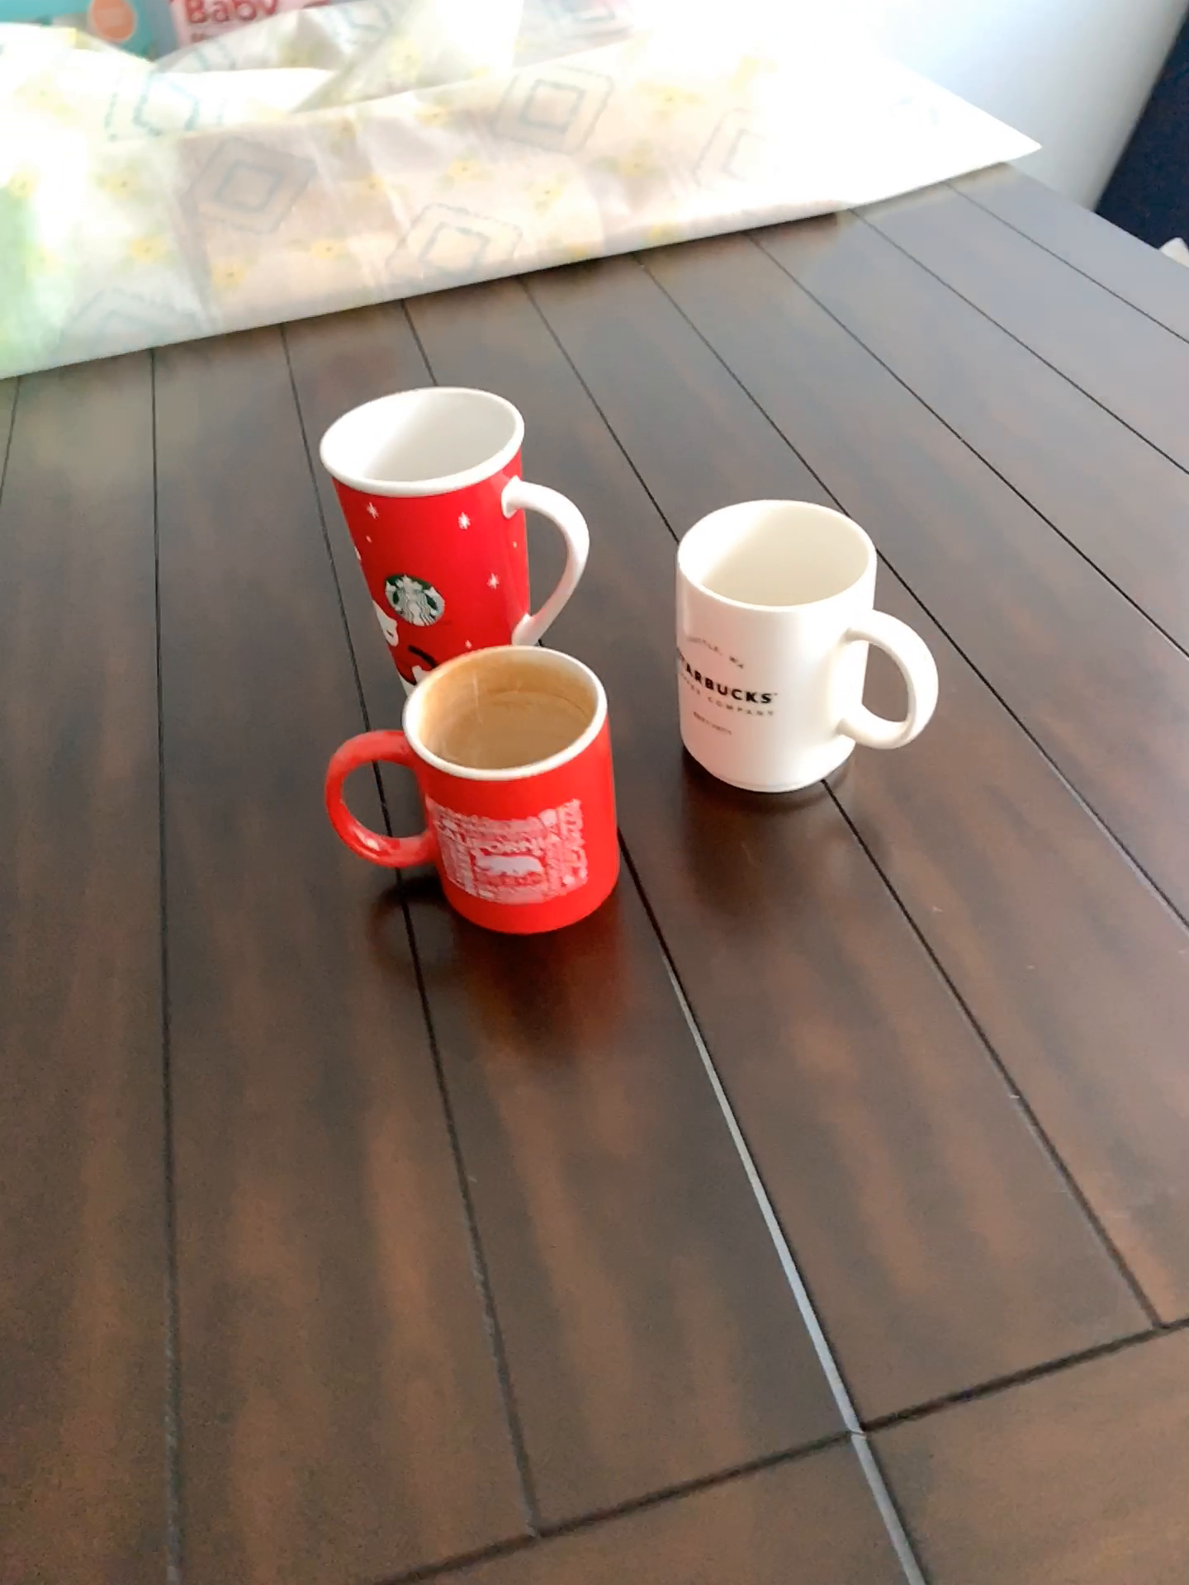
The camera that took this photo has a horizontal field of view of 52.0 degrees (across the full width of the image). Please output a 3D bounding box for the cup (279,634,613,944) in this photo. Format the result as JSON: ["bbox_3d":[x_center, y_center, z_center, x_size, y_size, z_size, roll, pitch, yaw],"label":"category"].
[{"bbox_3d":[-0.055,-0.001,0.519,0.120,0.090,0.090,-2,45,4],"label":"cup"}]

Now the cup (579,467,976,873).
[{"bbox_3d":[0.082,-0.061,0.571,0.141,0.109,0.100,32,56,32],"label":"cup"}]

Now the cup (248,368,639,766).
[{"bbox_3d":[-0.066,-0.112,0.601,0.140,0.139,0.100,15,48,20],"label":"cup"}]
